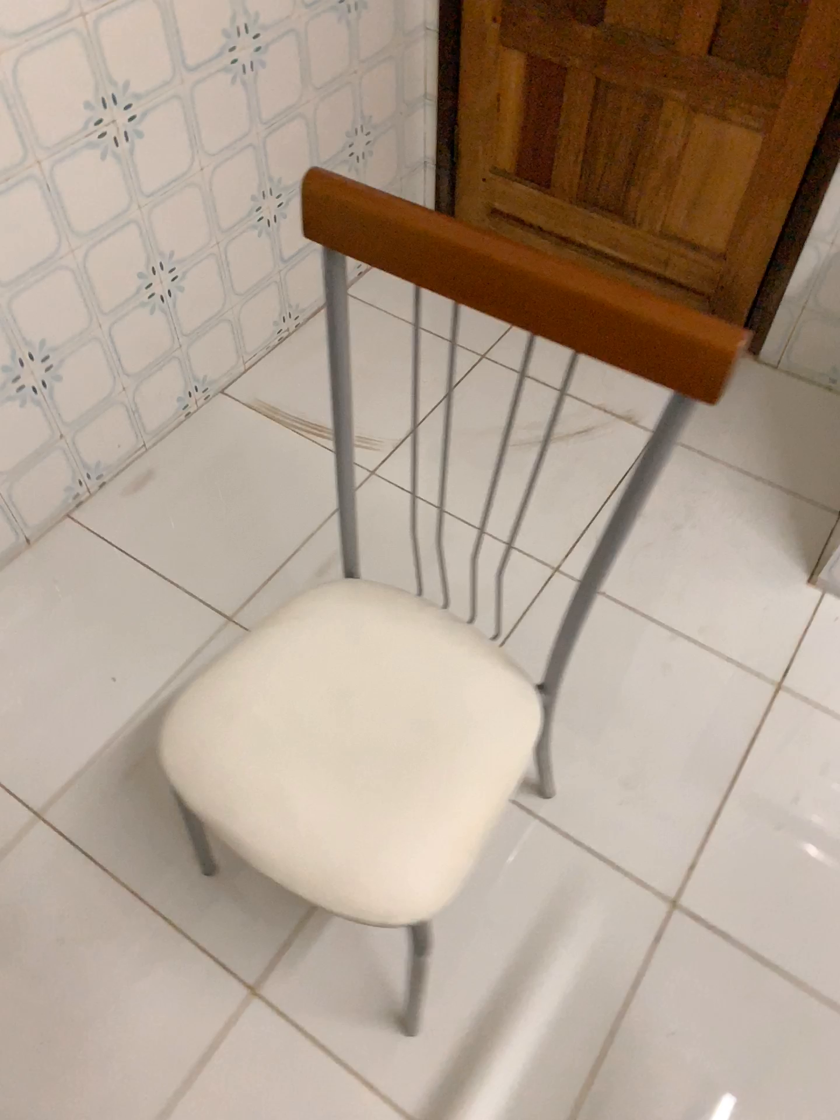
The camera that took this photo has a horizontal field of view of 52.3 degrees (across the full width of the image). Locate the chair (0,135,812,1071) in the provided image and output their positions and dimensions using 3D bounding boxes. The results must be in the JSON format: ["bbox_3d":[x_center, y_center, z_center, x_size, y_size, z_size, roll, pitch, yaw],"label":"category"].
[{"bbox_3d":[-0.040,0.132,0.977,0.481,0.886,0.512,30,59,20],"label":"chair"}]
